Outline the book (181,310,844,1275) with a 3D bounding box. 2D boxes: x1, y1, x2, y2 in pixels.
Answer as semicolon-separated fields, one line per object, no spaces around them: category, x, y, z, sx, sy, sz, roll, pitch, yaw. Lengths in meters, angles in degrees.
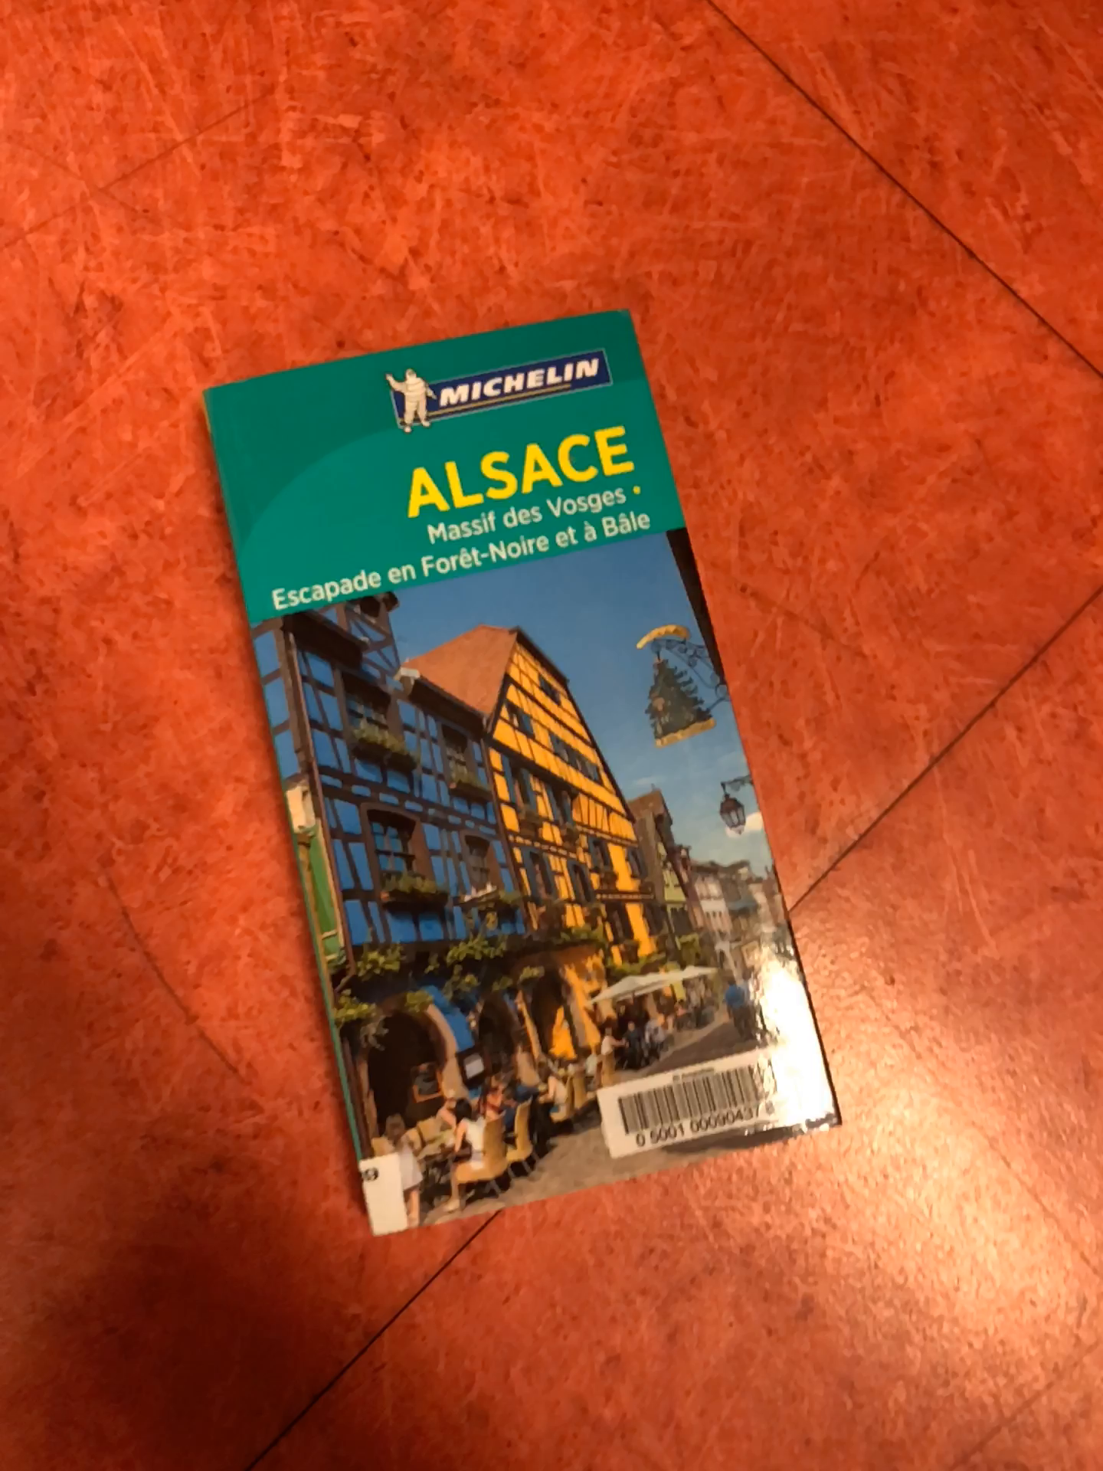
book;-0.013;0.008;0.309;0.116;0.030;0.213;-12;82;-5
